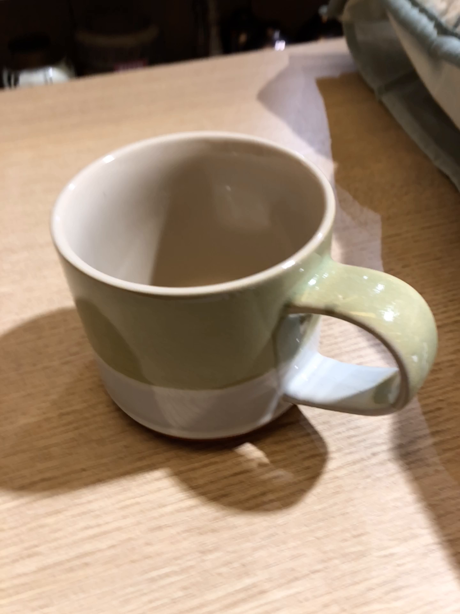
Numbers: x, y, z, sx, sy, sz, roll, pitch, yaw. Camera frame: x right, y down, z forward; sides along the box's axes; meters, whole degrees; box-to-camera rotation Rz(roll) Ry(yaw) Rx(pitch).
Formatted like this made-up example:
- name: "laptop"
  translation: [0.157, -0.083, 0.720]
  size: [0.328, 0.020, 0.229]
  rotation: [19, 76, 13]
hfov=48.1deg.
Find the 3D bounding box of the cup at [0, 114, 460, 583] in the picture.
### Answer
- name: "cup"
  translation: [0.001, 0.002, 0.187]
  size: [0.140, 0.080, 0.100]
  rotation: [21, 50, 23]
